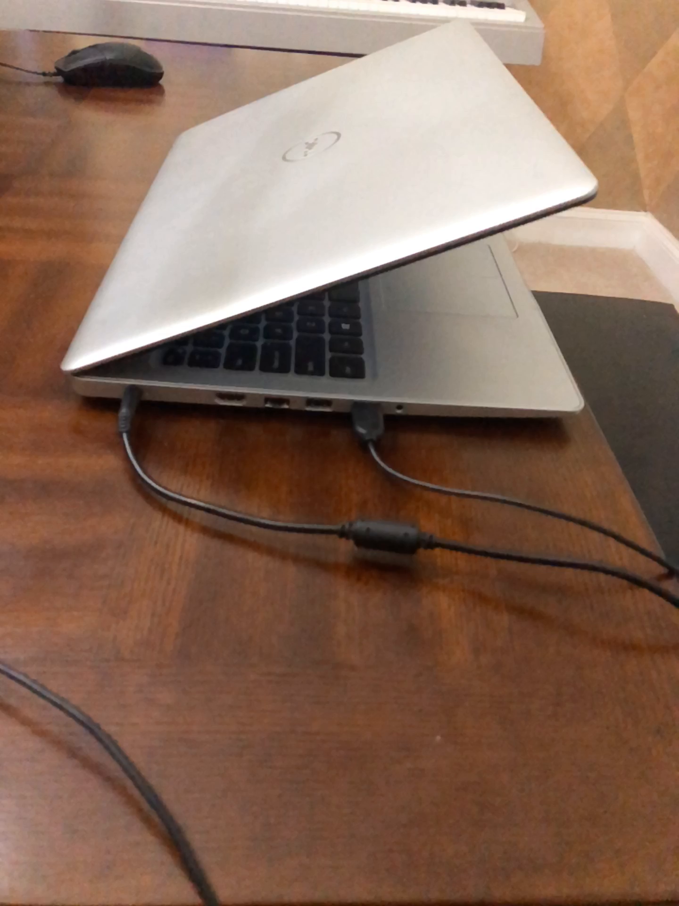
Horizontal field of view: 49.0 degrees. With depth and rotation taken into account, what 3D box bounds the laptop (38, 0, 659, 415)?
[{"bbox_3d":[0.002,-0.184,0.470,0.249,0.103,0.371,4,39,-5],"label":"laptop"}]
